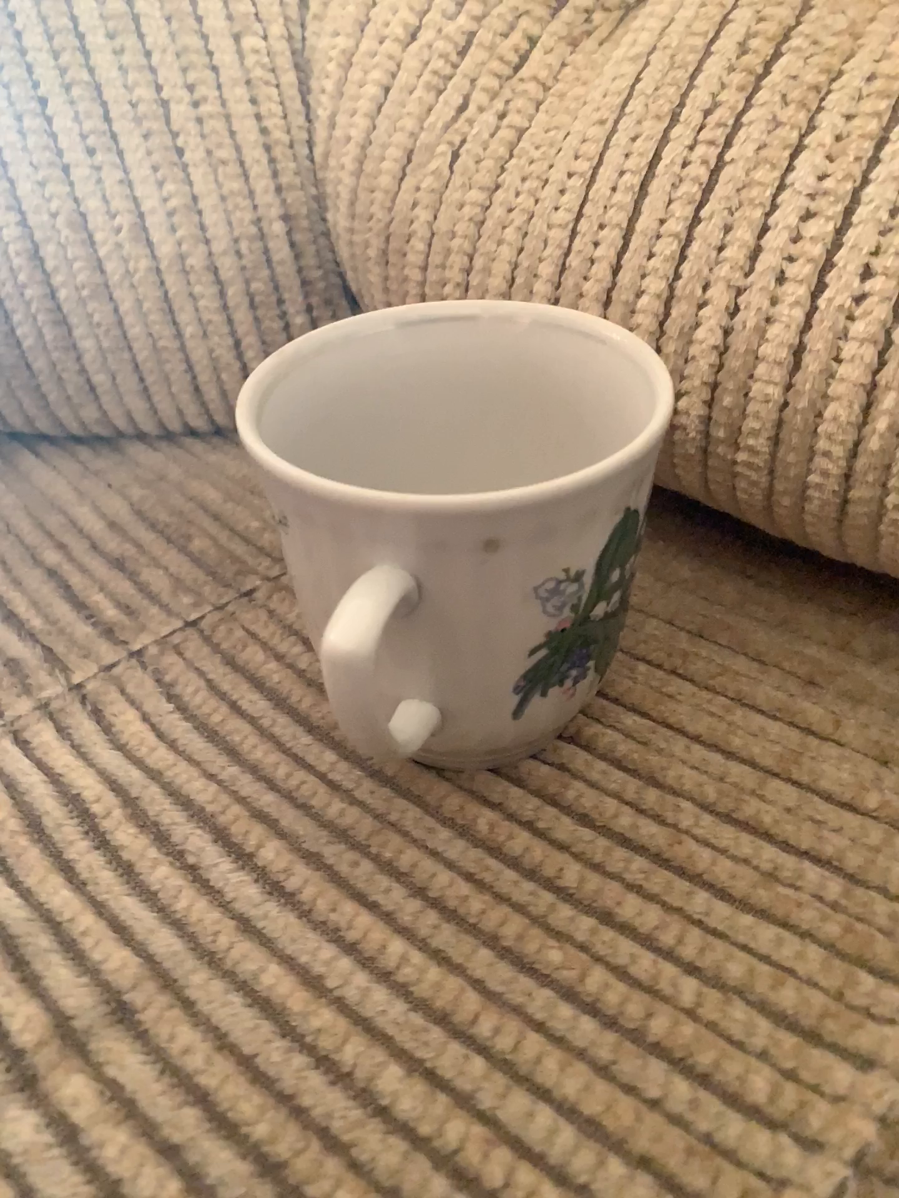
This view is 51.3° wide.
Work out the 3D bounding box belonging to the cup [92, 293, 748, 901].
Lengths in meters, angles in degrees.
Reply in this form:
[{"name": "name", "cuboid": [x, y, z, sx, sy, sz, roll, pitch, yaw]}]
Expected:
[{"name": "cup", "cuboid": [0.000, -0.011, 0.202, 0.095, 0.077, 0.113, 4, 33, 5]}]
